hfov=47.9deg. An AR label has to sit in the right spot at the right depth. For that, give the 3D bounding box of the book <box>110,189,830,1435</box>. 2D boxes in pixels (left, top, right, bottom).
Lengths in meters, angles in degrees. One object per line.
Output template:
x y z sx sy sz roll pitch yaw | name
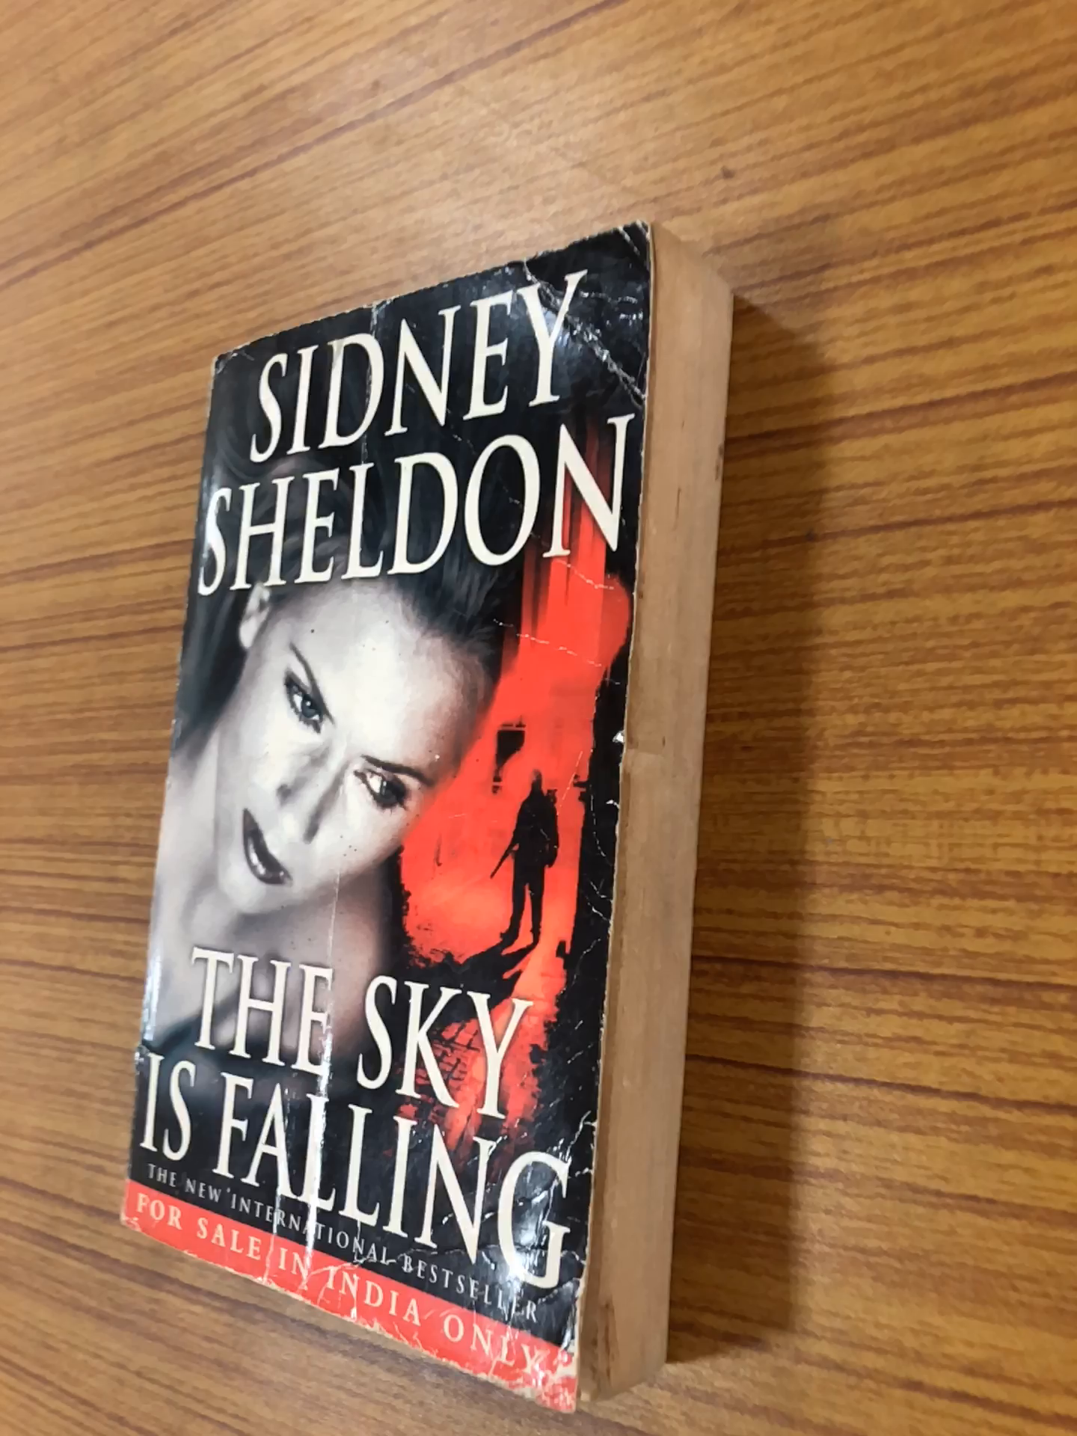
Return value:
-0.017 0.012 0.210 0.120 0.030 0.170 0 83 37 | book
